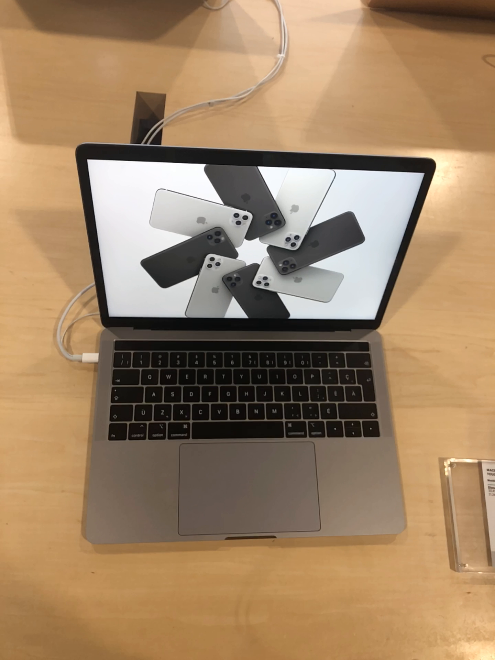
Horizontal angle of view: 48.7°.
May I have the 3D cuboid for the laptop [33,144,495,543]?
[{"bbox_3d":[0.003,0.025,0.481,0.296,0.182,0.295,0,68,-7],"label":"laptop"}]
